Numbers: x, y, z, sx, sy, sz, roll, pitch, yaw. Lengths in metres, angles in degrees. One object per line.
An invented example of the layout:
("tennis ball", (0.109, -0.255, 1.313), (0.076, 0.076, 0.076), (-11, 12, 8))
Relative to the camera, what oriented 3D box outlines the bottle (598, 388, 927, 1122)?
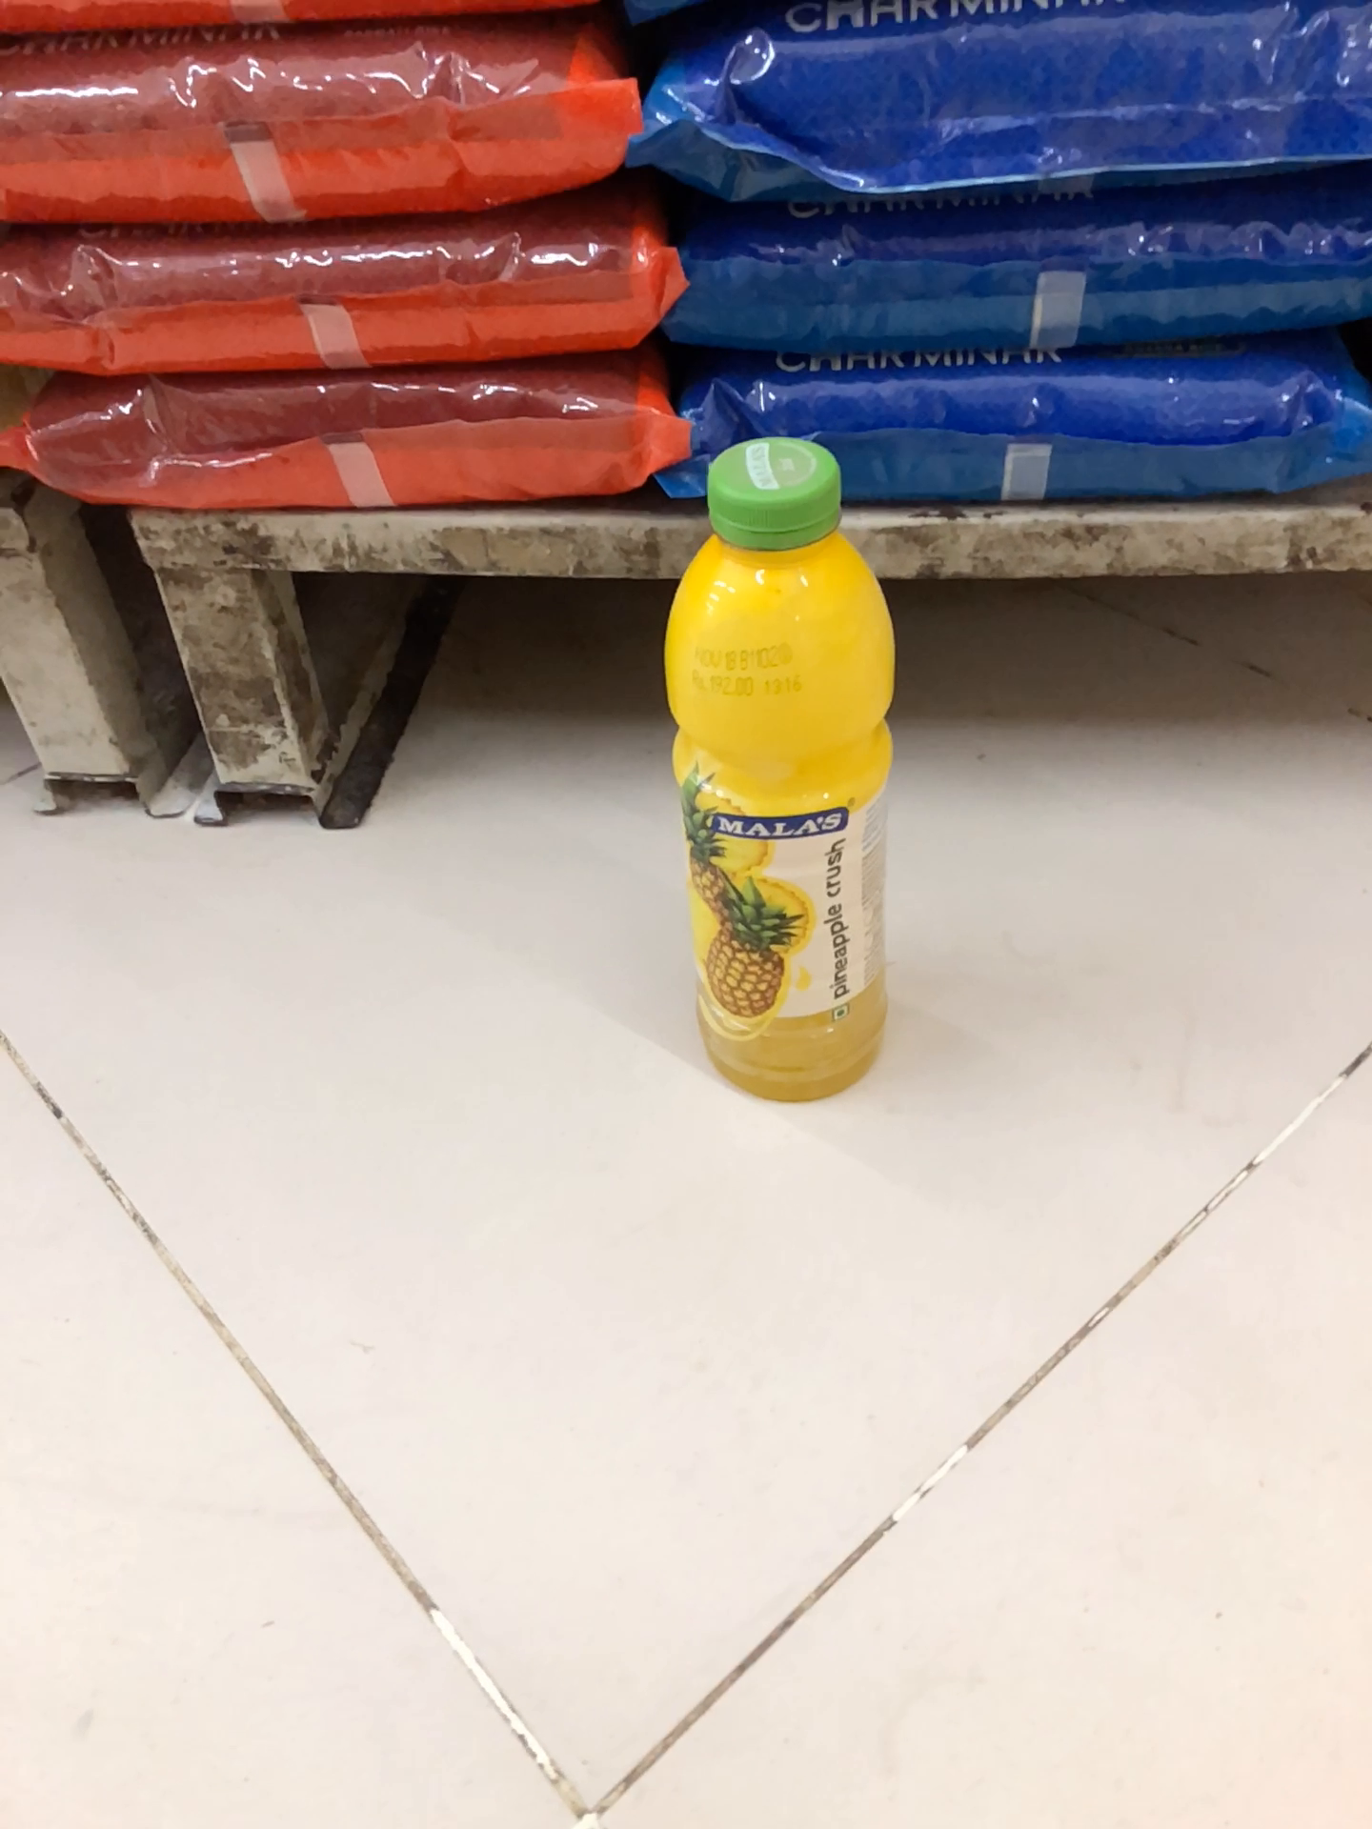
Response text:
("bottle", (0.034, -0.042, 0.530), (0.090, 0.248, 0.091), (-4, 43, 4))
